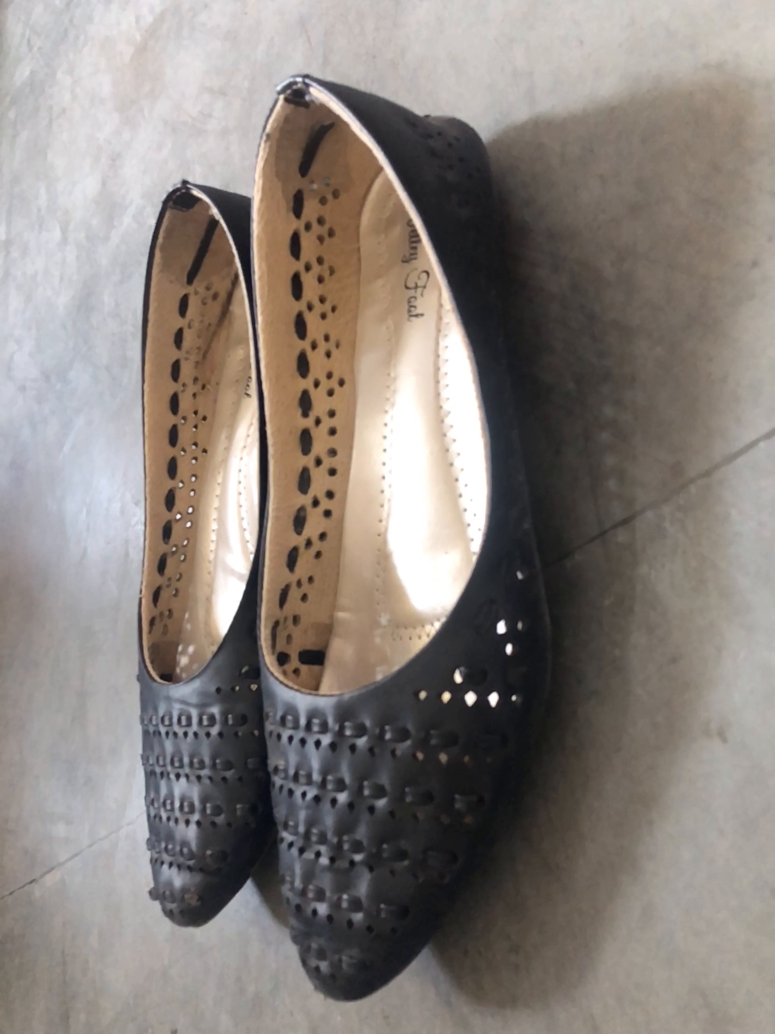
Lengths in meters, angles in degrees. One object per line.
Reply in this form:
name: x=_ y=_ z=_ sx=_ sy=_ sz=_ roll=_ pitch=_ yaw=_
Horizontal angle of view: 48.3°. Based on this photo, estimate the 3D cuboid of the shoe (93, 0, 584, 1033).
shoe: x=-0.009 y=-0.022 z=0.244 sx=0.101 sy=0.070 sz=0.280 roll=-10 pitch=71 yaw=47

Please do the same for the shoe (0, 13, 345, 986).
shoe: x=-0.074 y=-0.007 z=0.296 sx=0.101 sy=0.070 sz=0.270 roll=-10 pitch=76 yaw=47
